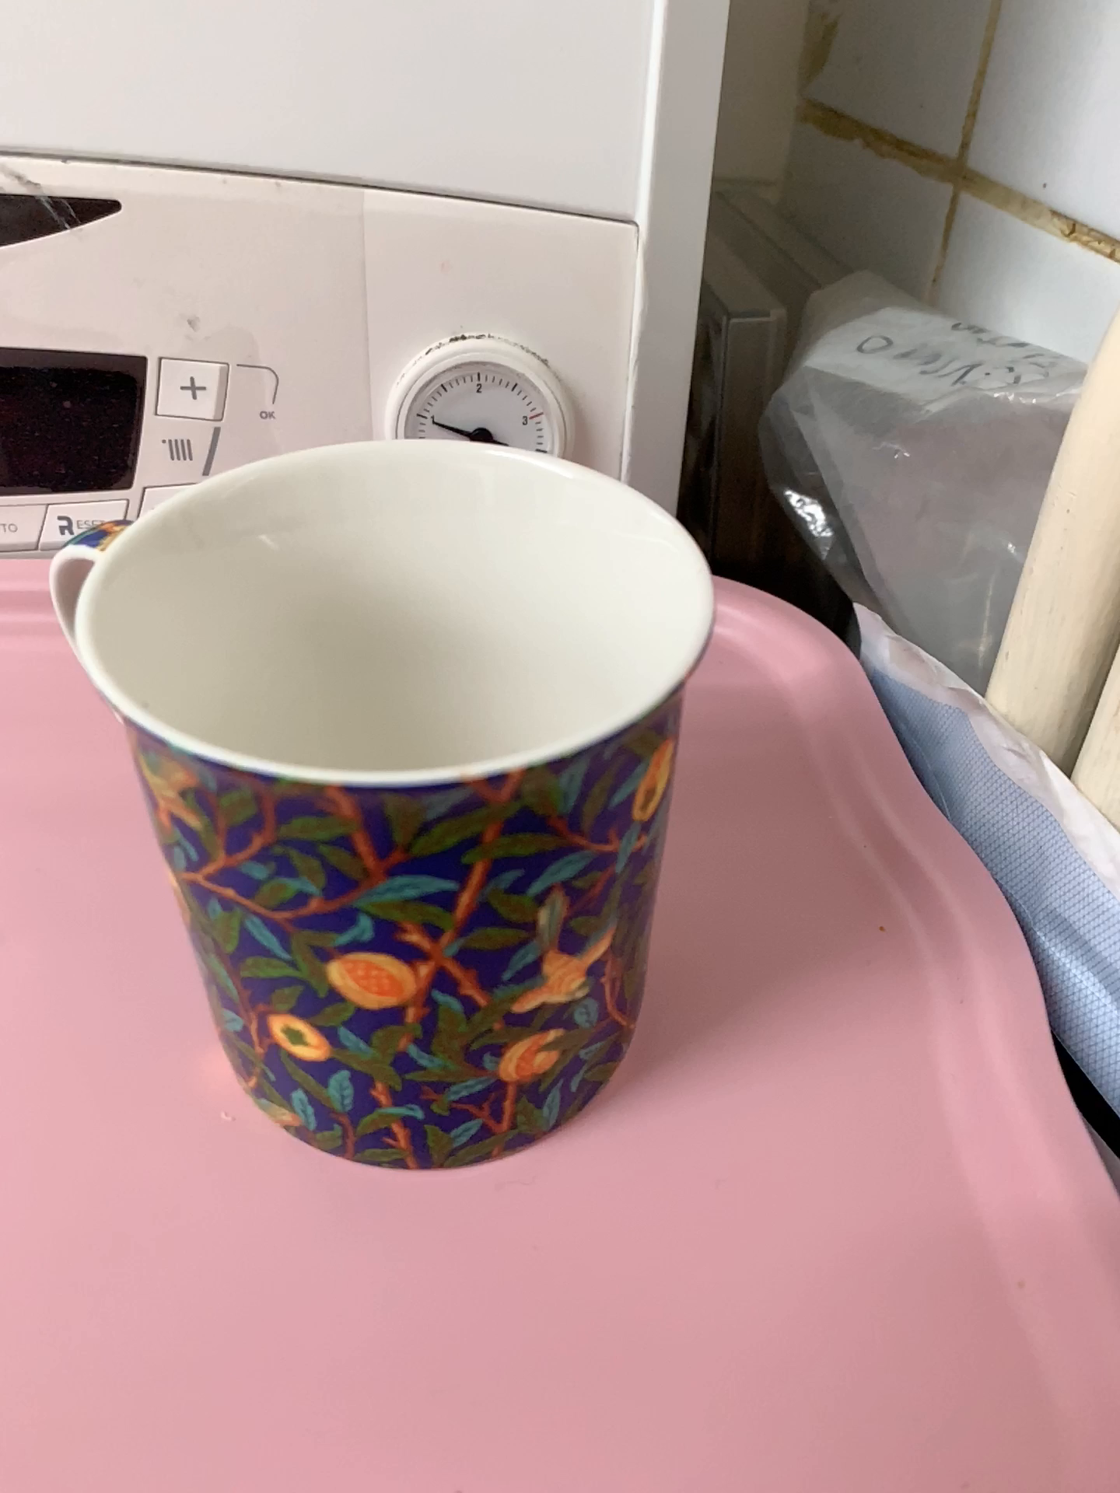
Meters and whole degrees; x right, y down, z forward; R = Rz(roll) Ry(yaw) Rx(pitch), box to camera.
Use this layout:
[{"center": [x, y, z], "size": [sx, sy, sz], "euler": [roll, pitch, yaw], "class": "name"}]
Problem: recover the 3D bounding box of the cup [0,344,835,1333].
[{"center": [-0.037, 0.000, 0.176], "size": [0.120, 0.079, 0.081], "euler": [24, 39, 27], "class": "cup"}]
